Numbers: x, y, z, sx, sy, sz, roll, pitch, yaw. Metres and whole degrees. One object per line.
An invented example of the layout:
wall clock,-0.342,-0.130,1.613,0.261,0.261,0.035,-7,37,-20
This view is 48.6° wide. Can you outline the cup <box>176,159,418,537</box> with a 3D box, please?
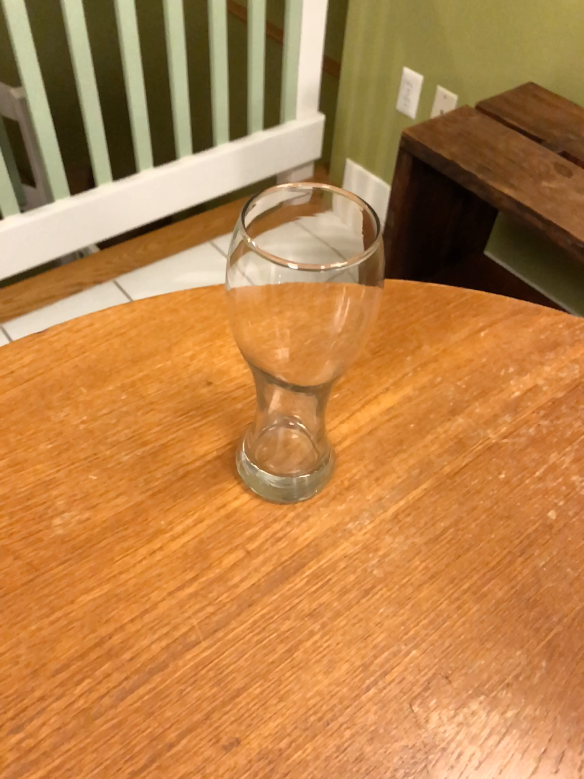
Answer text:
cup,-0.003,-0.014,0.422,0.093,0.222,0.088,2,49,-3
